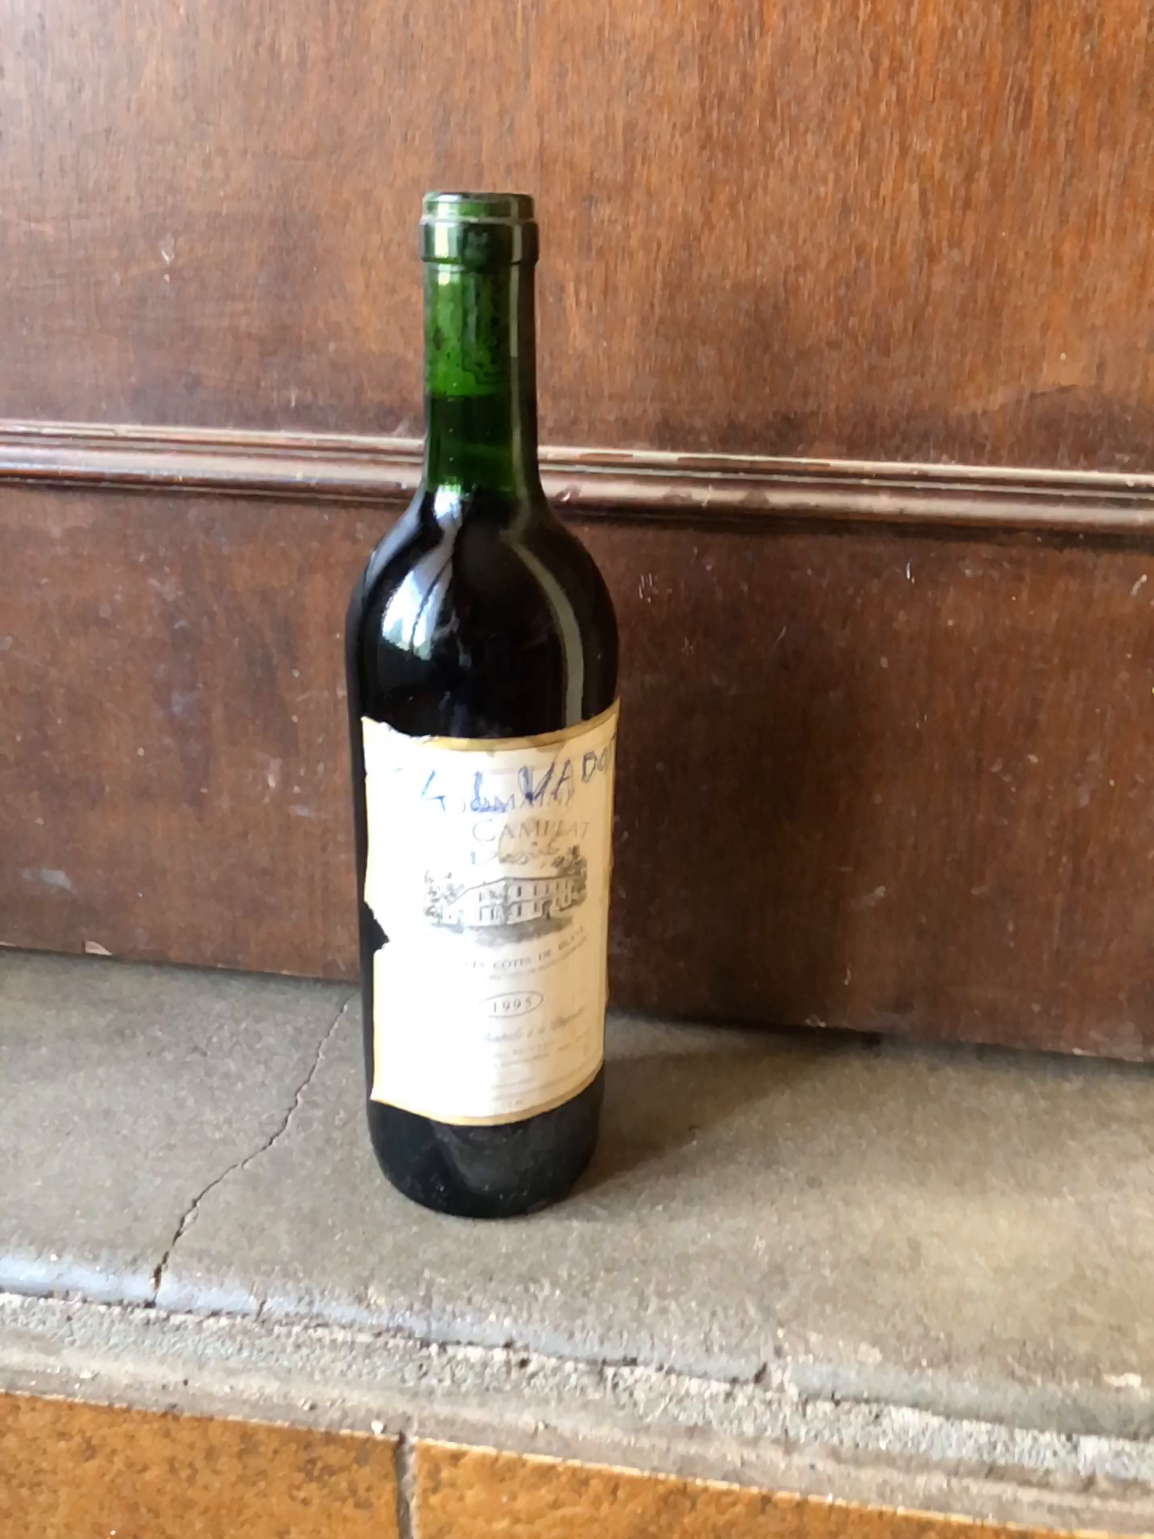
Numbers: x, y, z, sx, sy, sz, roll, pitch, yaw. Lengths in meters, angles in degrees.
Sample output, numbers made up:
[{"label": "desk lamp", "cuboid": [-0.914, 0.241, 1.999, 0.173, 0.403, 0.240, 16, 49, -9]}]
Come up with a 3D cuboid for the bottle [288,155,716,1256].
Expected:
[{"label": "bottle", "cuboid": [-0.024, -0.012, 0.350, 0.080, 0.278, 0.080, 1, 23, -1]}]
